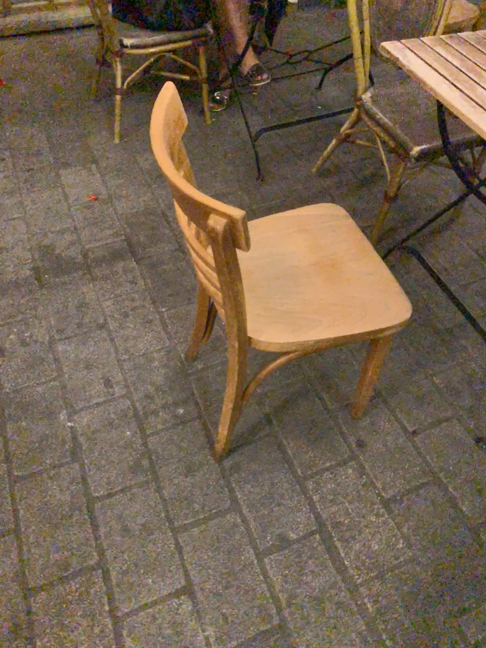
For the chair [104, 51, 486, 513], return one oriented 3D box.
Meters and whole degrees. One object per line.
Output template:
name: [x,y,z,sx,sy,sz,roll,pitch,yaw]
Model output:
chair: [0.086,-0.057,1.078,0.541,0.763,0.514,-15,52,-13]
